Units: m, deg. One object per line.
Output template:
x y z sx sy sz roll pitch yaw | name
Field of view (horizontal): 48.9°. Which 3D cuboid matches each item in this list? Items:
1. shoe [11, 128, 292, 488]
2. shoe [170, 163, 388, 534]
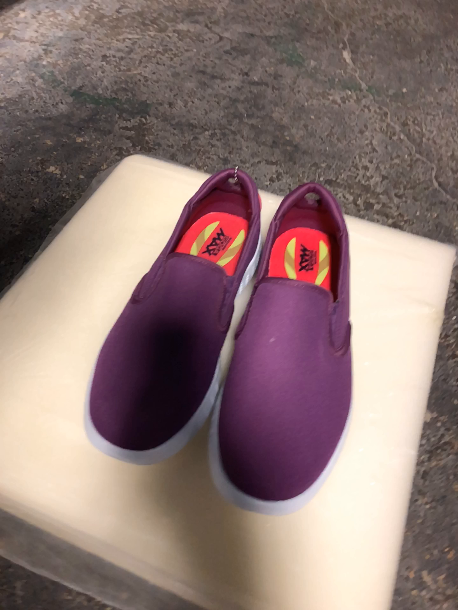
-0.037 -0.015 0.389 0.100 0.089 0.262 15 54 9 | shoe
0.045 0.016 0.364 0.100 0.089 0.242 12 53 7 | shoe
